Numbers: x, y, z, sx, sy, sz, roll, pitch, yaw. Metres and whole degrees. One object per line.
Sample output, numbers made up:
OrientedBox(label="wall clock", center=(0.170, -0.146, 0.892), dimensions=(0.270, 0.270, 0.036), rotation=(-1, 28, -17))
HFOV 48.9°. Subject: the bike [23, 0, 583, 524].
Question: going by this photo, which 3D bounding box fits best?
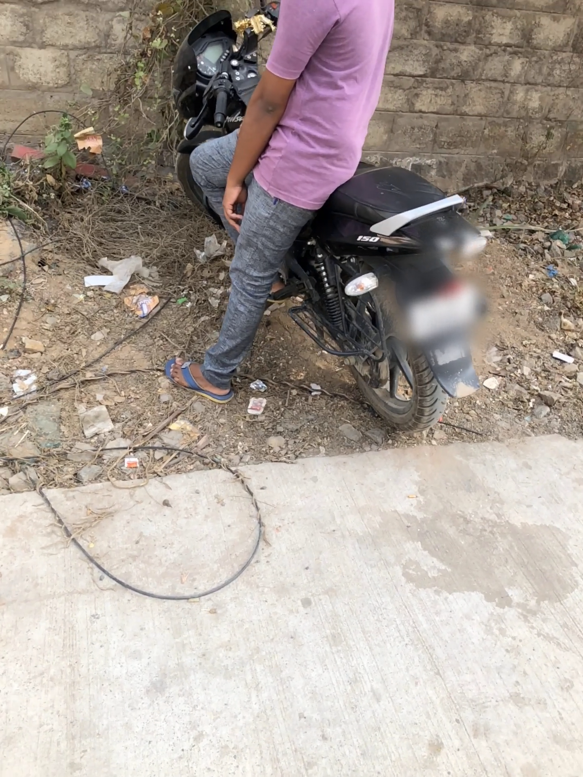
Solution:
OrientedBox(label="bike", center=(-0.137, -0.715, 2.215), dimensions=(0.817, 1.215, 1.815), rotation=(-17, 44, -30))
